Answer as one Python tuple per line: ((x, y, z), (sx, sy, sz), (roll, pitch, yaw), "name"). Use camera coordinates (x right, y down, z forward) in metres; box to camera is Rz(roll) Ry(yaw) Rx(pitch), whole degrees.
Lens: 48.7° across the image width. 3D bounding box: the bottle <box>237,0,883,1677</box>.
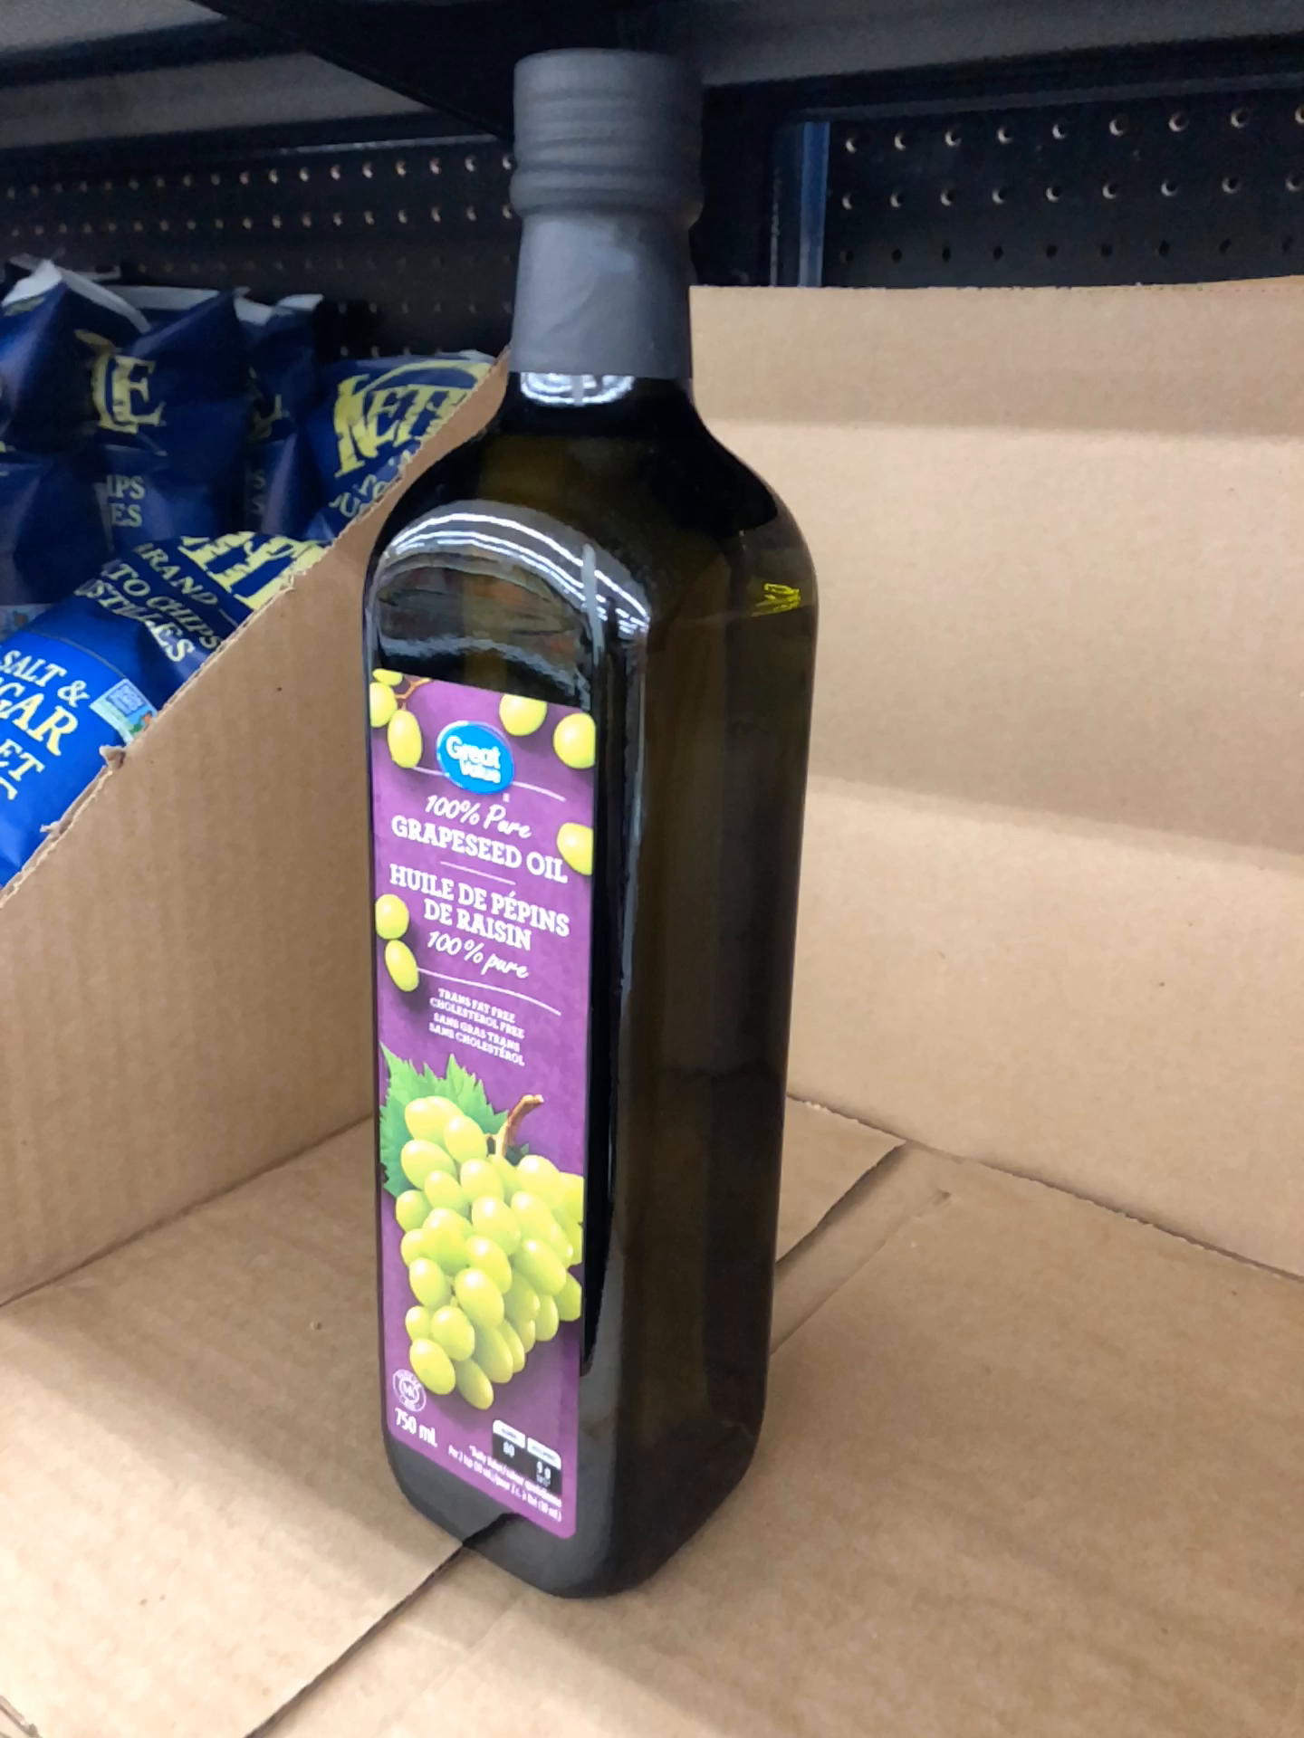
((-0.015, 0.005, 0.270), (0.080, 0.278, 0.060), (14, 24, 34), "bottle")
